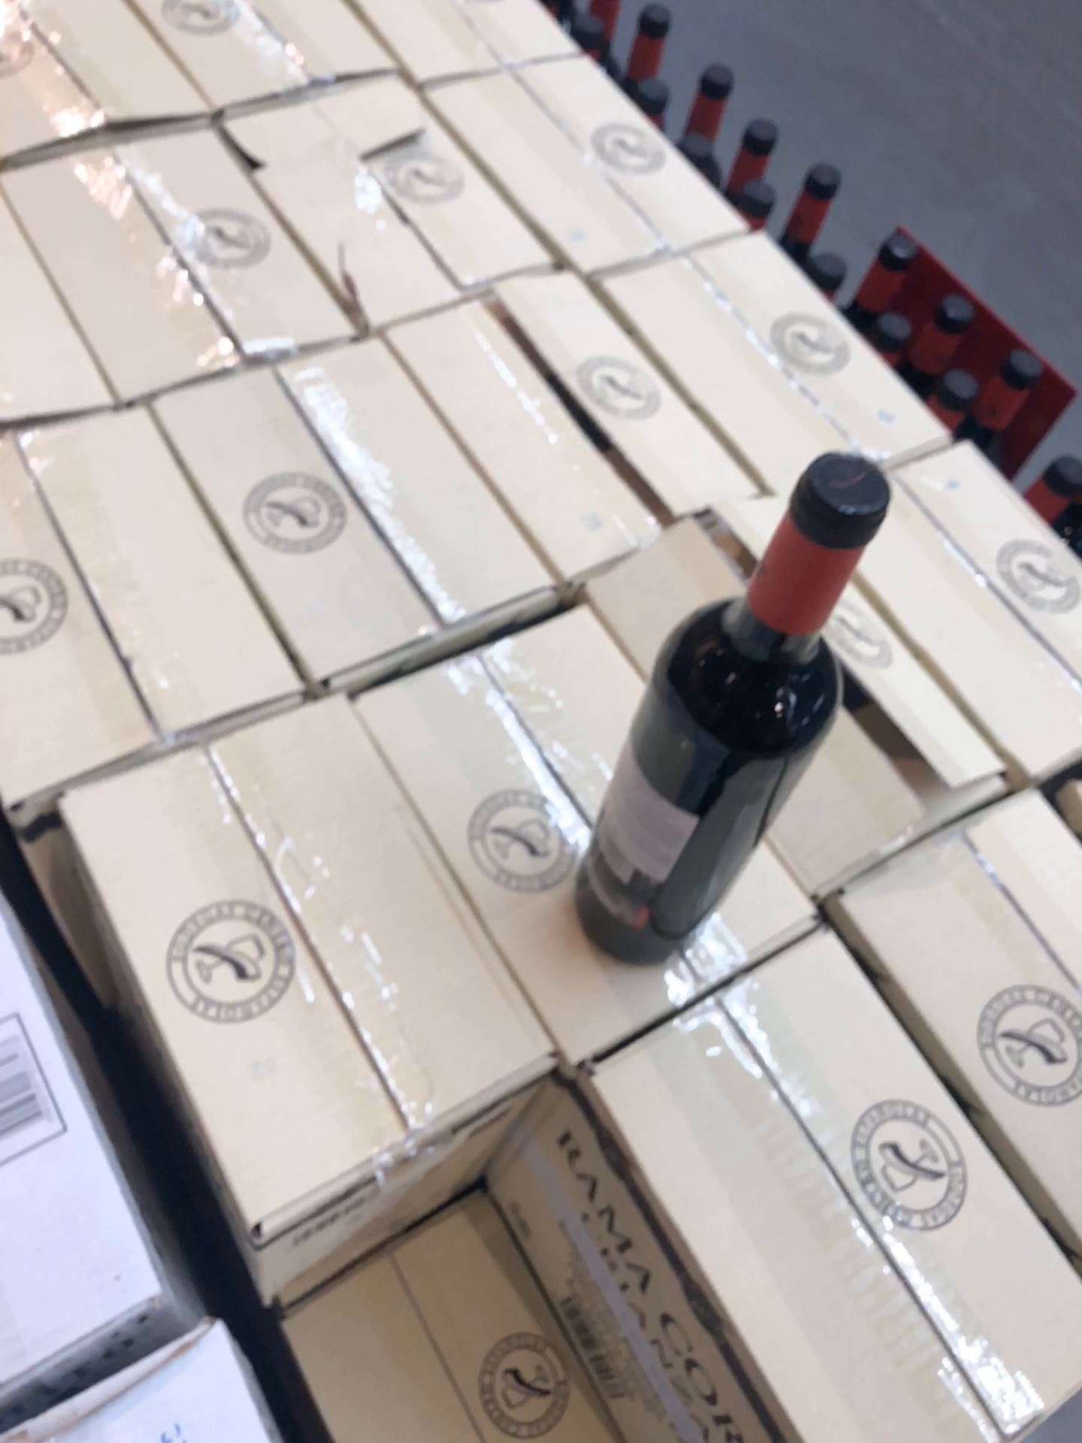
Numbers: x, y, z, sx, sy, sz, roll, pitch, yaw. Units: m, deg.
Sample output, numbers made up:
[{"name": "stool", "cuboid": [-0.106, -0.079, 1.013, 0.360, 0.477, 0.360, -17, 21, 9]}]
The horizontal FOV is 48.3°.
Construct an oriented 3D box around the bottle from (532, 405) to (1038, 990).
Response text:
[{"name": "bottle", "cuboid": [0.071, 0.016, 0.493, 0.090, 0.298, 0.090, 5, 58, -9]}]
